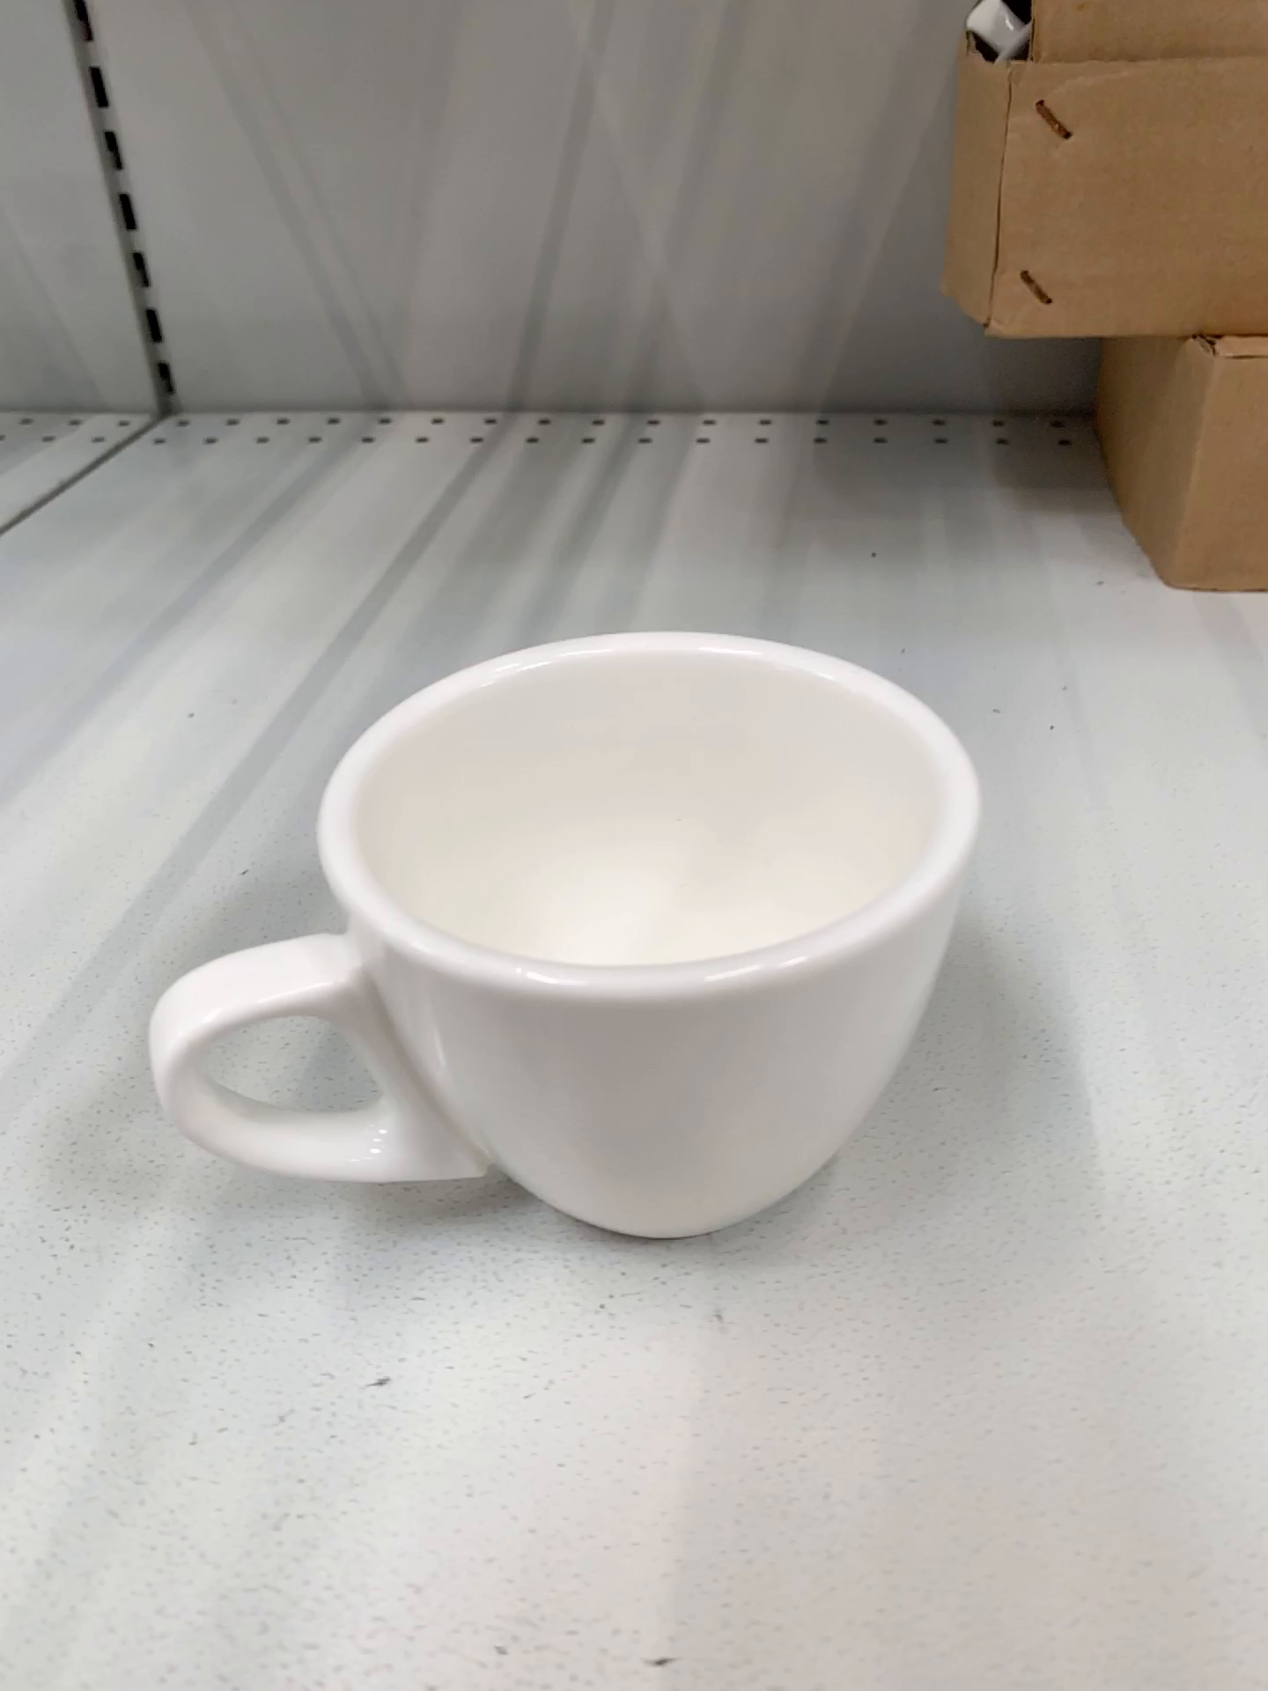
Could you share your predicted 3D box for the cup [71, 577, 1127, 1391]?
[{"bbox_3d":[-0.010,0.012,0.214,0.131,0.062,0.095,-10,35,-11],"label":"cup"}]
